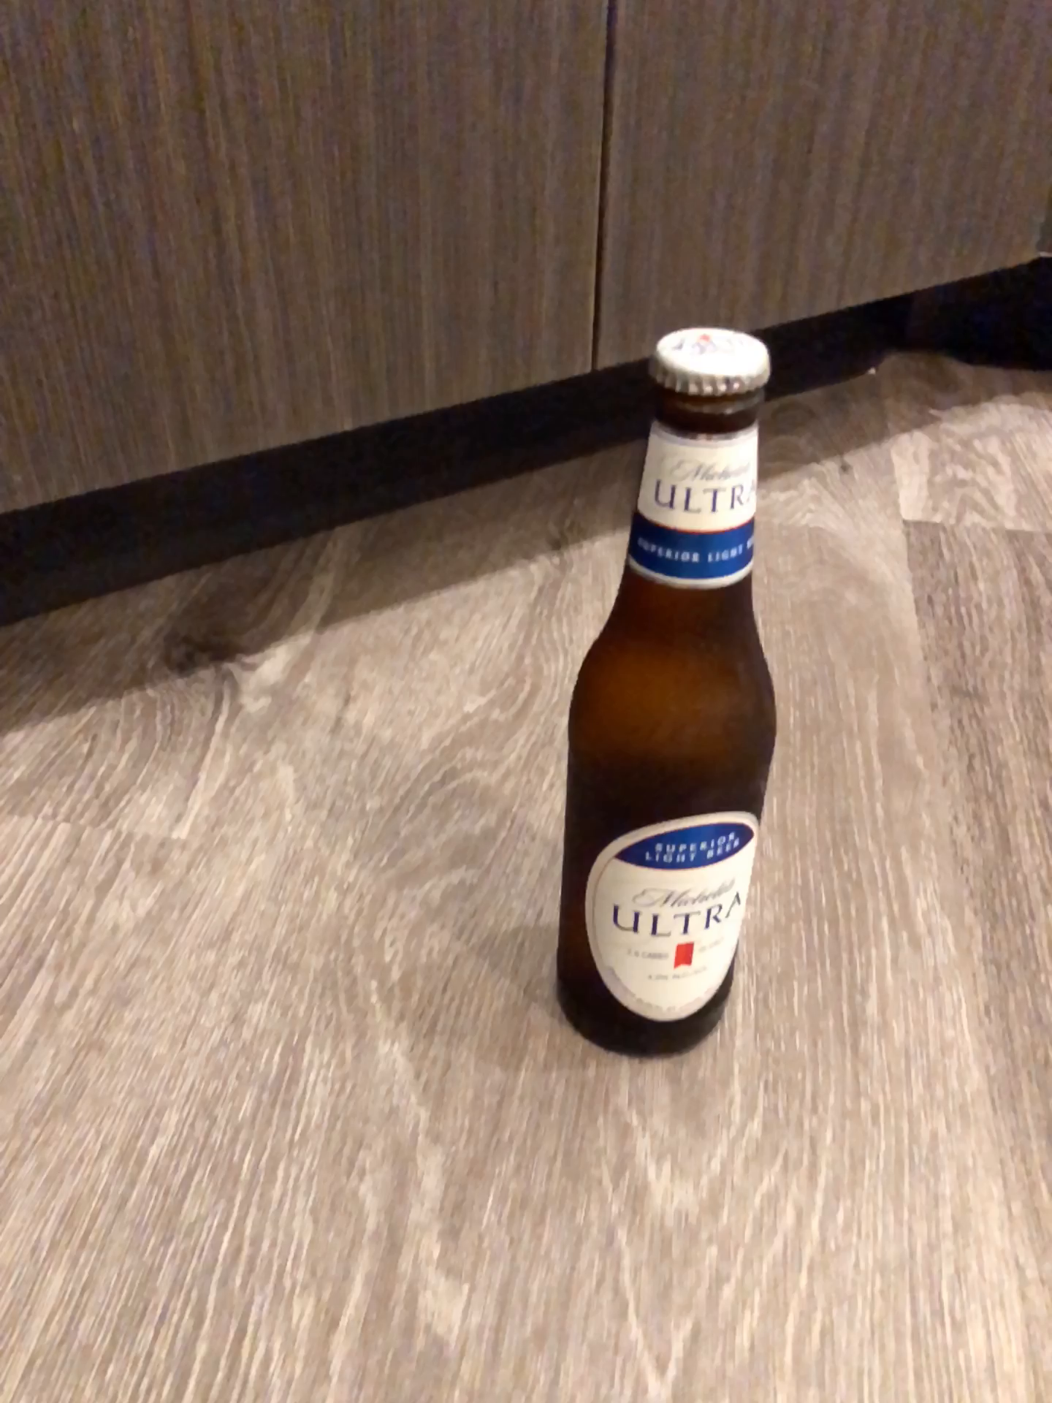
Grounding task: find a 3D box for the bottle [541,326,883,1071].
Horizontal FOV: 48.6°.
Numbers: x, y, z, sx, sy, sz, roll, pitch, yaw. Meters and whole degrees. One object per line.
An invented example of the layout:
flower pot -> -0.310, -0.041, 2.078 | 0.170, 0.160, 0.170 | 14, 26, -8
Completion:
bottle -> 0.040, 0.010, 0.324 | 0.060, 0.209, 0.060 | 1, 36, -1
